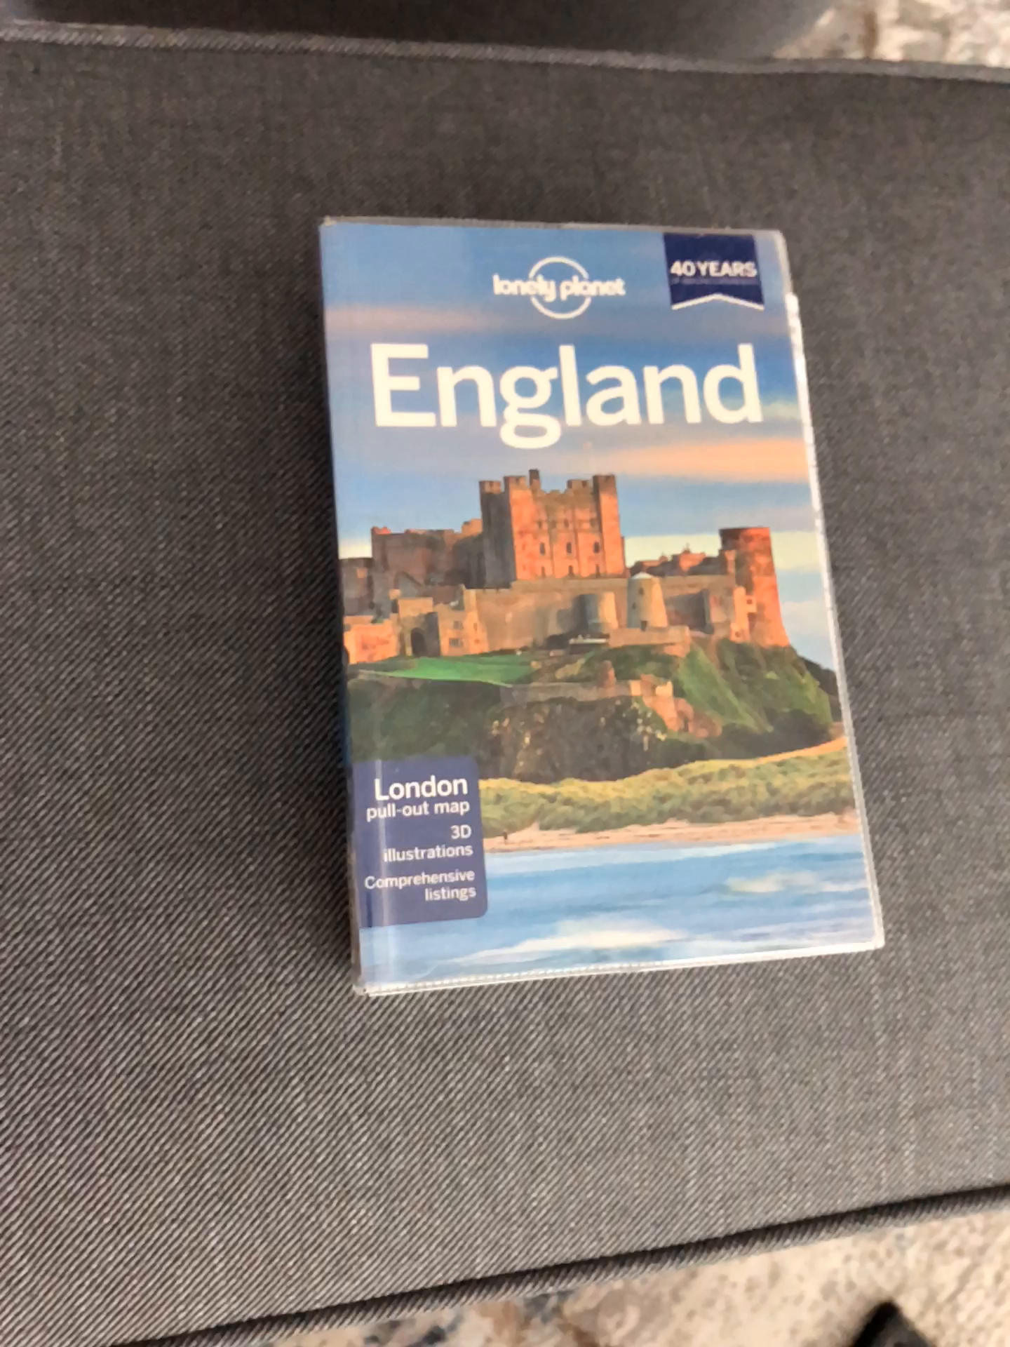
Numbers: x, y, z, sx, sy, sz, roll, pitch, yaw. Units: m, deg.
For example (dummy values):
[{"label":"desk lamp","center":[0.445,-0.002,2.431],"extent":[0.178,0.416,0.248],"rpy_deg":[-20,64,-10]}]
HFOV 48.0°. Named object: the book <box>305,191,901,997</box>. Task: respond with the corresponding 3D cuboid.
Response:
[{"label":"book","center":[0.019,-0.024,0.299],"extent":[0.135,0.040,0.200],"rpy_deg":[-2,78,-8]}]
